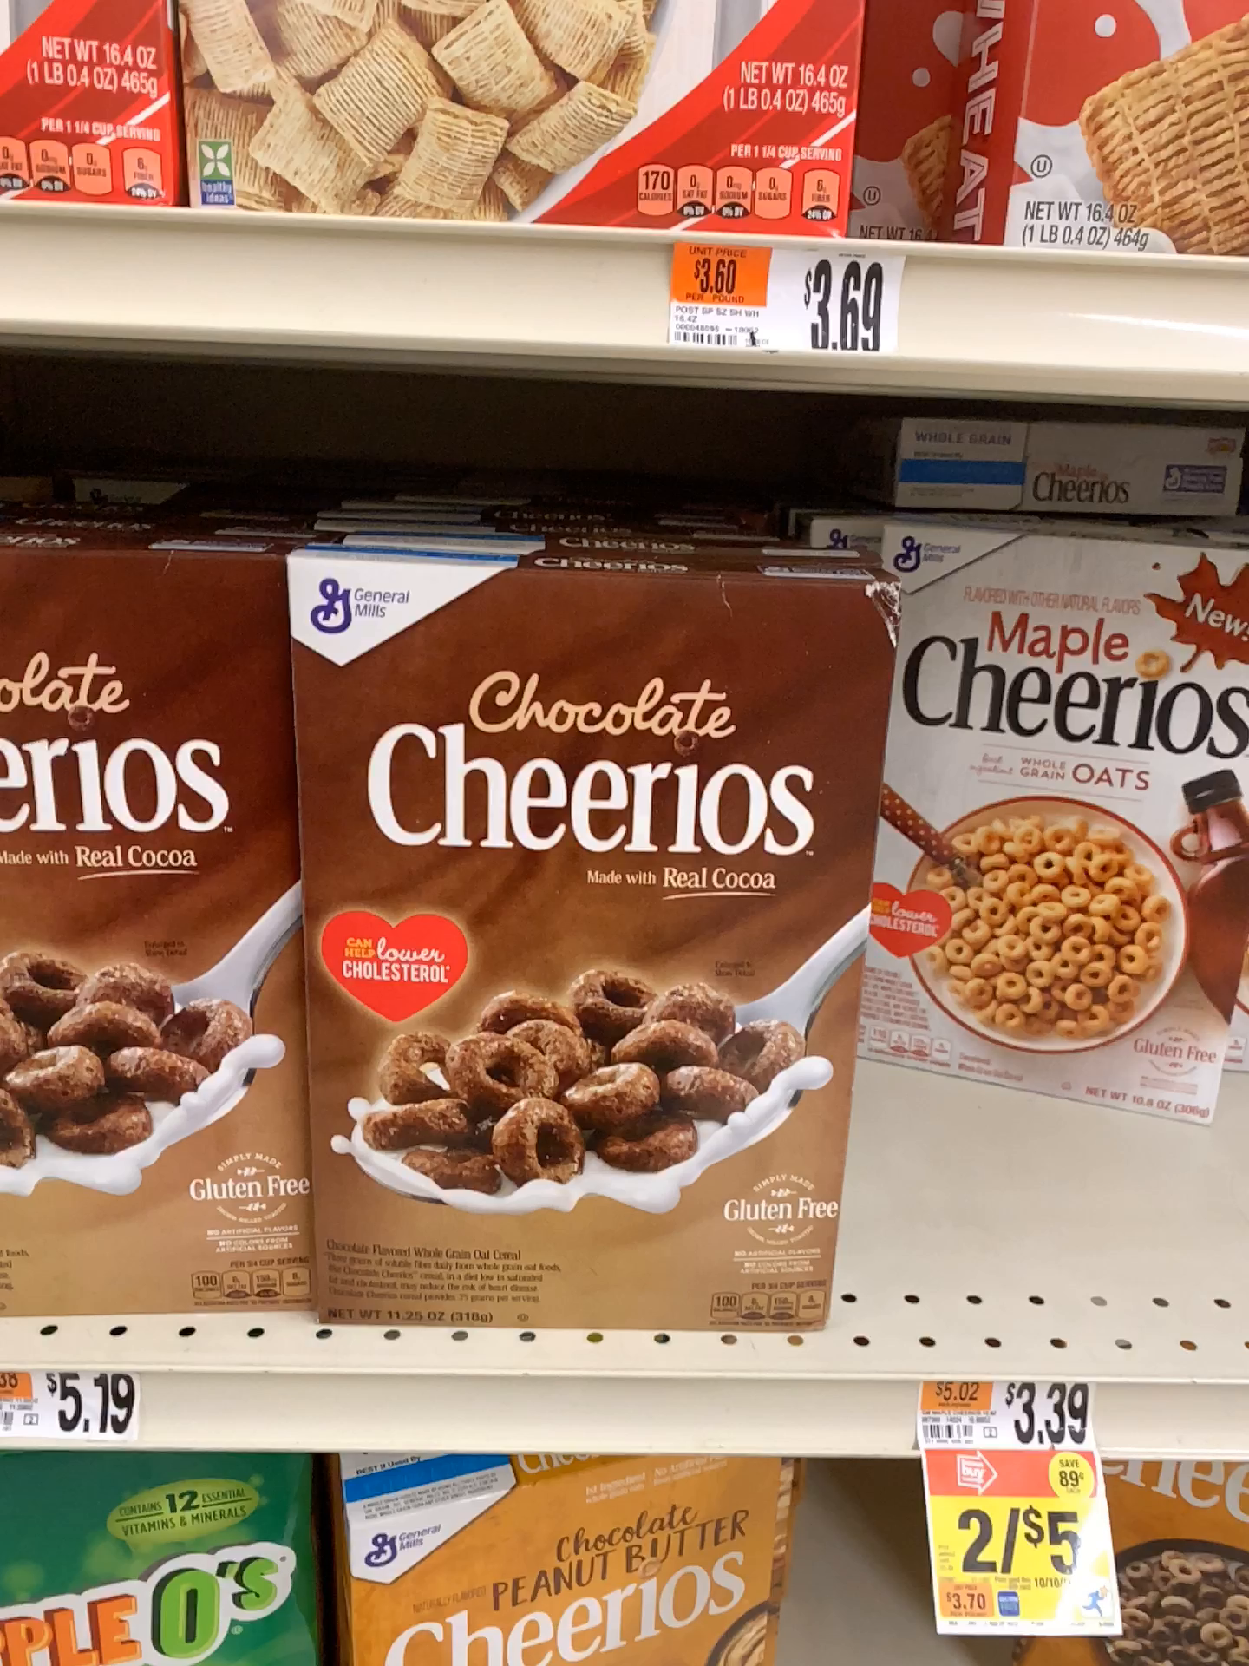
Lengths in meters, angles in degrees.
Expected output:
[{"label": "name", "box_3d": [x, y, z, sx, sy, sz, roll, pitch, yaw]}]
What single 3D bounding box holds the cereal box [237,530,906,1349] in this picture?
[{"label": "cereal box", "box_3d": [-0.022, 0.047, 0.479, 0.210, 0.299, 0.060, 2, 19, -1]}]
